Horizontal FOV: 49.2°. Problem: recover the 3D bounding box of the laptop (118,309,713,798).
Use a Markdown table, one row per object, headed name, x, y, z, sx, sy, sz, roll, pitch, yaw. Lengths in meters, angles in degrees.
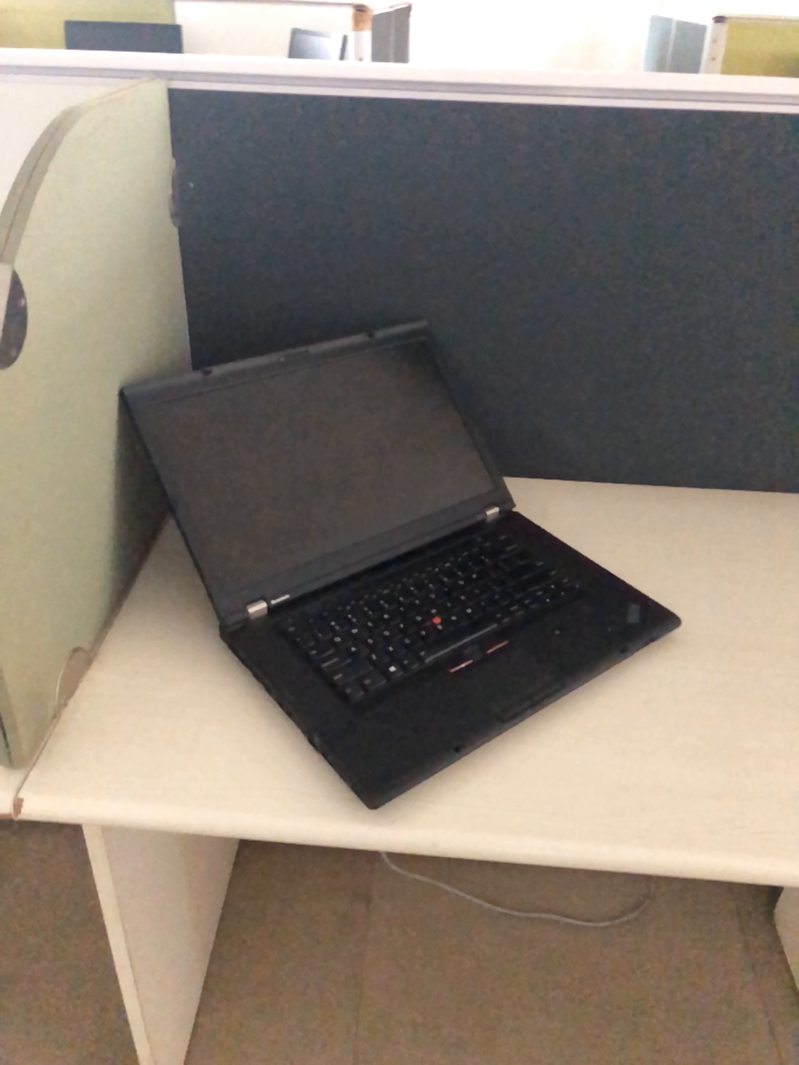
| name | x | y | z | sx | sy | sz | roll | pitch | yaw |
| --- | --- | --- | --- | --- | --- | --- | --- | --- | --- |
| laptop | 0.000 | -0.031 | 0.814 | 0.356 | 0.167 | 0.405 | -22 | 41 | -32 |
